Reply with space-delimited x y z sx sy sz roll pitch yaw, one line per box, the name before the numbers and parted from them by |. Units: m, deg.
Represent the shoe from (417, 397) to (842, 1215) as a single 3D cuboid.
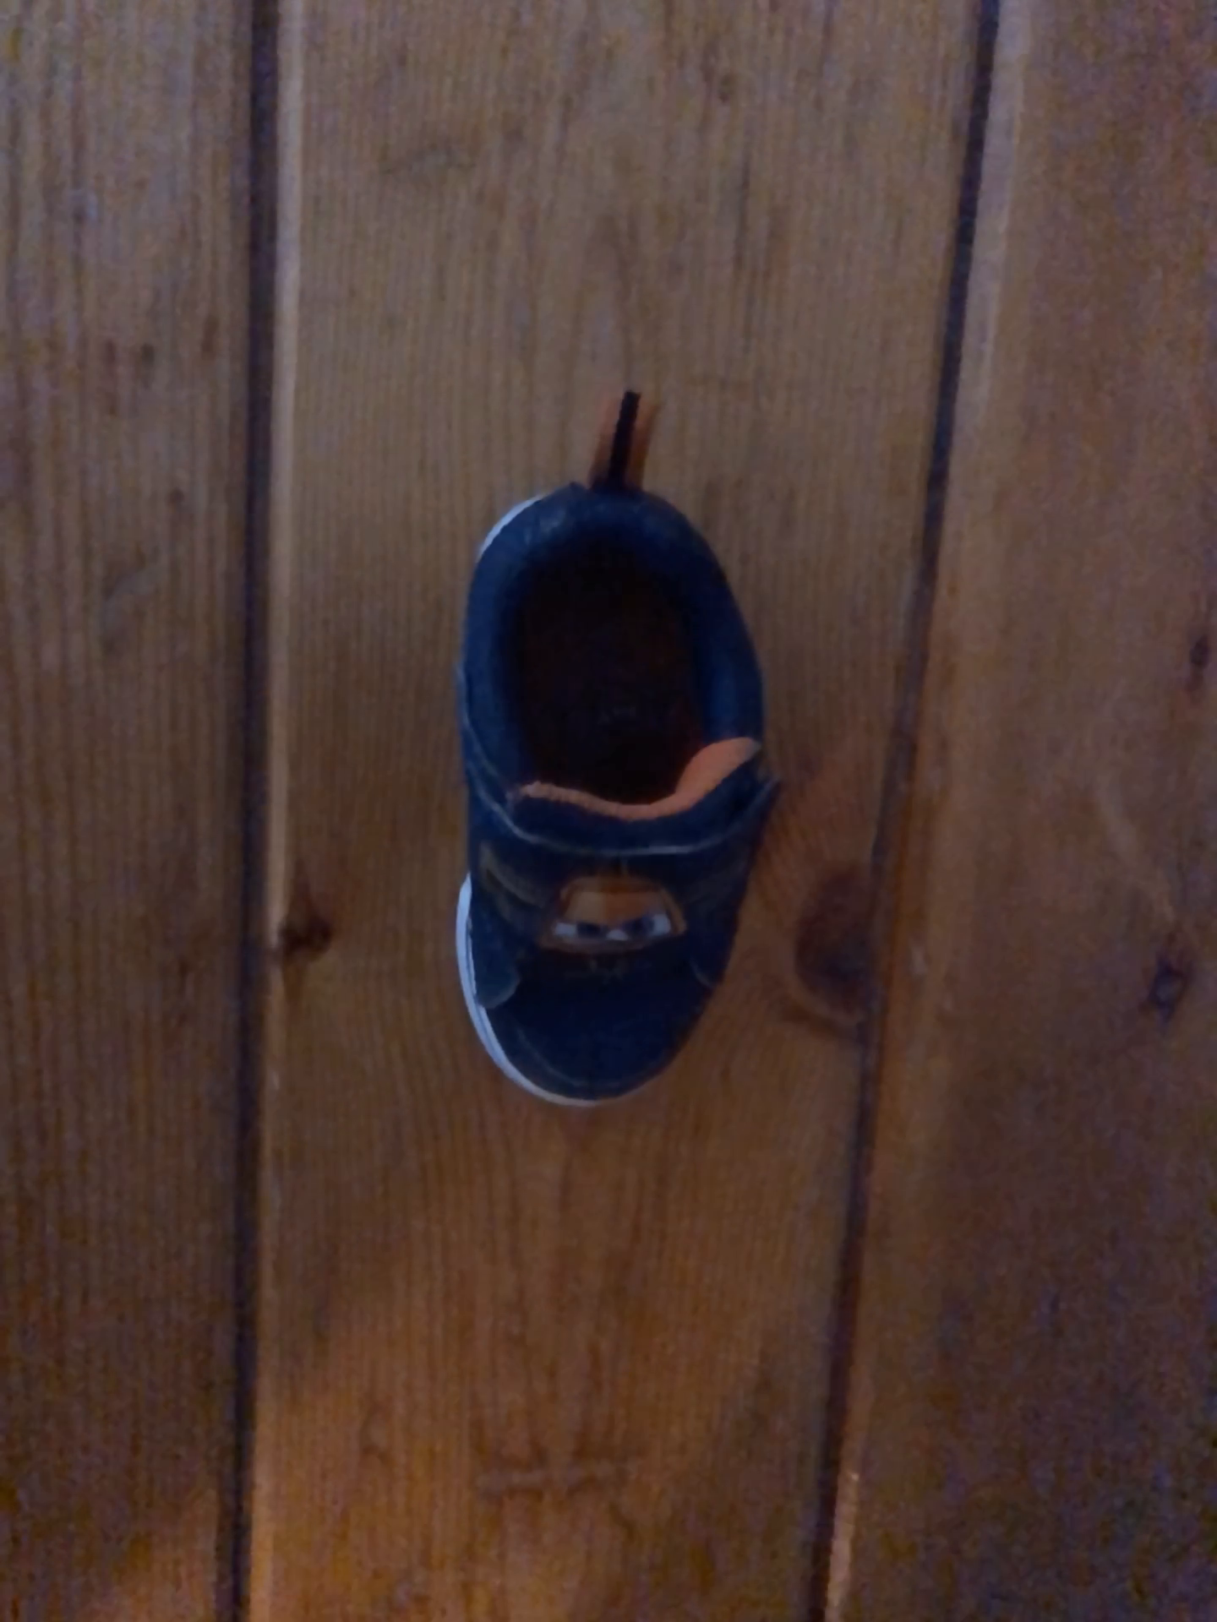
shoe | -0.002 -0.001 0.300 0.070 0.070 0.160 3 100 -10
